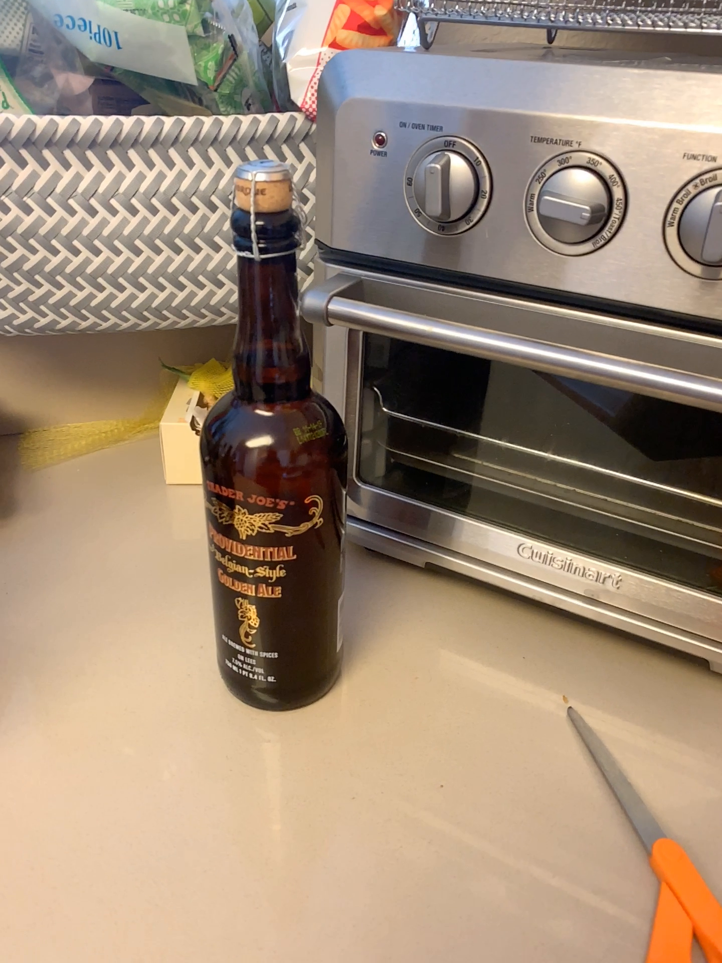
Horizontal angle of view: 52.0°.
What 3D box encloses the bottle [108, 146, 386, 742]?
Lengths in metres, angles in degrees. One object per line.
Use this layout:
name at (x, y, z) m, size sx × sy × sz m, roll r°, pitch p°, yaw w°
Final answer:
bottle at (-0.050, -0.008, 0.394) m, size 0.090 × 0.298 × 0.080 m, roll 14°, pitch 33°, yaw 18°
